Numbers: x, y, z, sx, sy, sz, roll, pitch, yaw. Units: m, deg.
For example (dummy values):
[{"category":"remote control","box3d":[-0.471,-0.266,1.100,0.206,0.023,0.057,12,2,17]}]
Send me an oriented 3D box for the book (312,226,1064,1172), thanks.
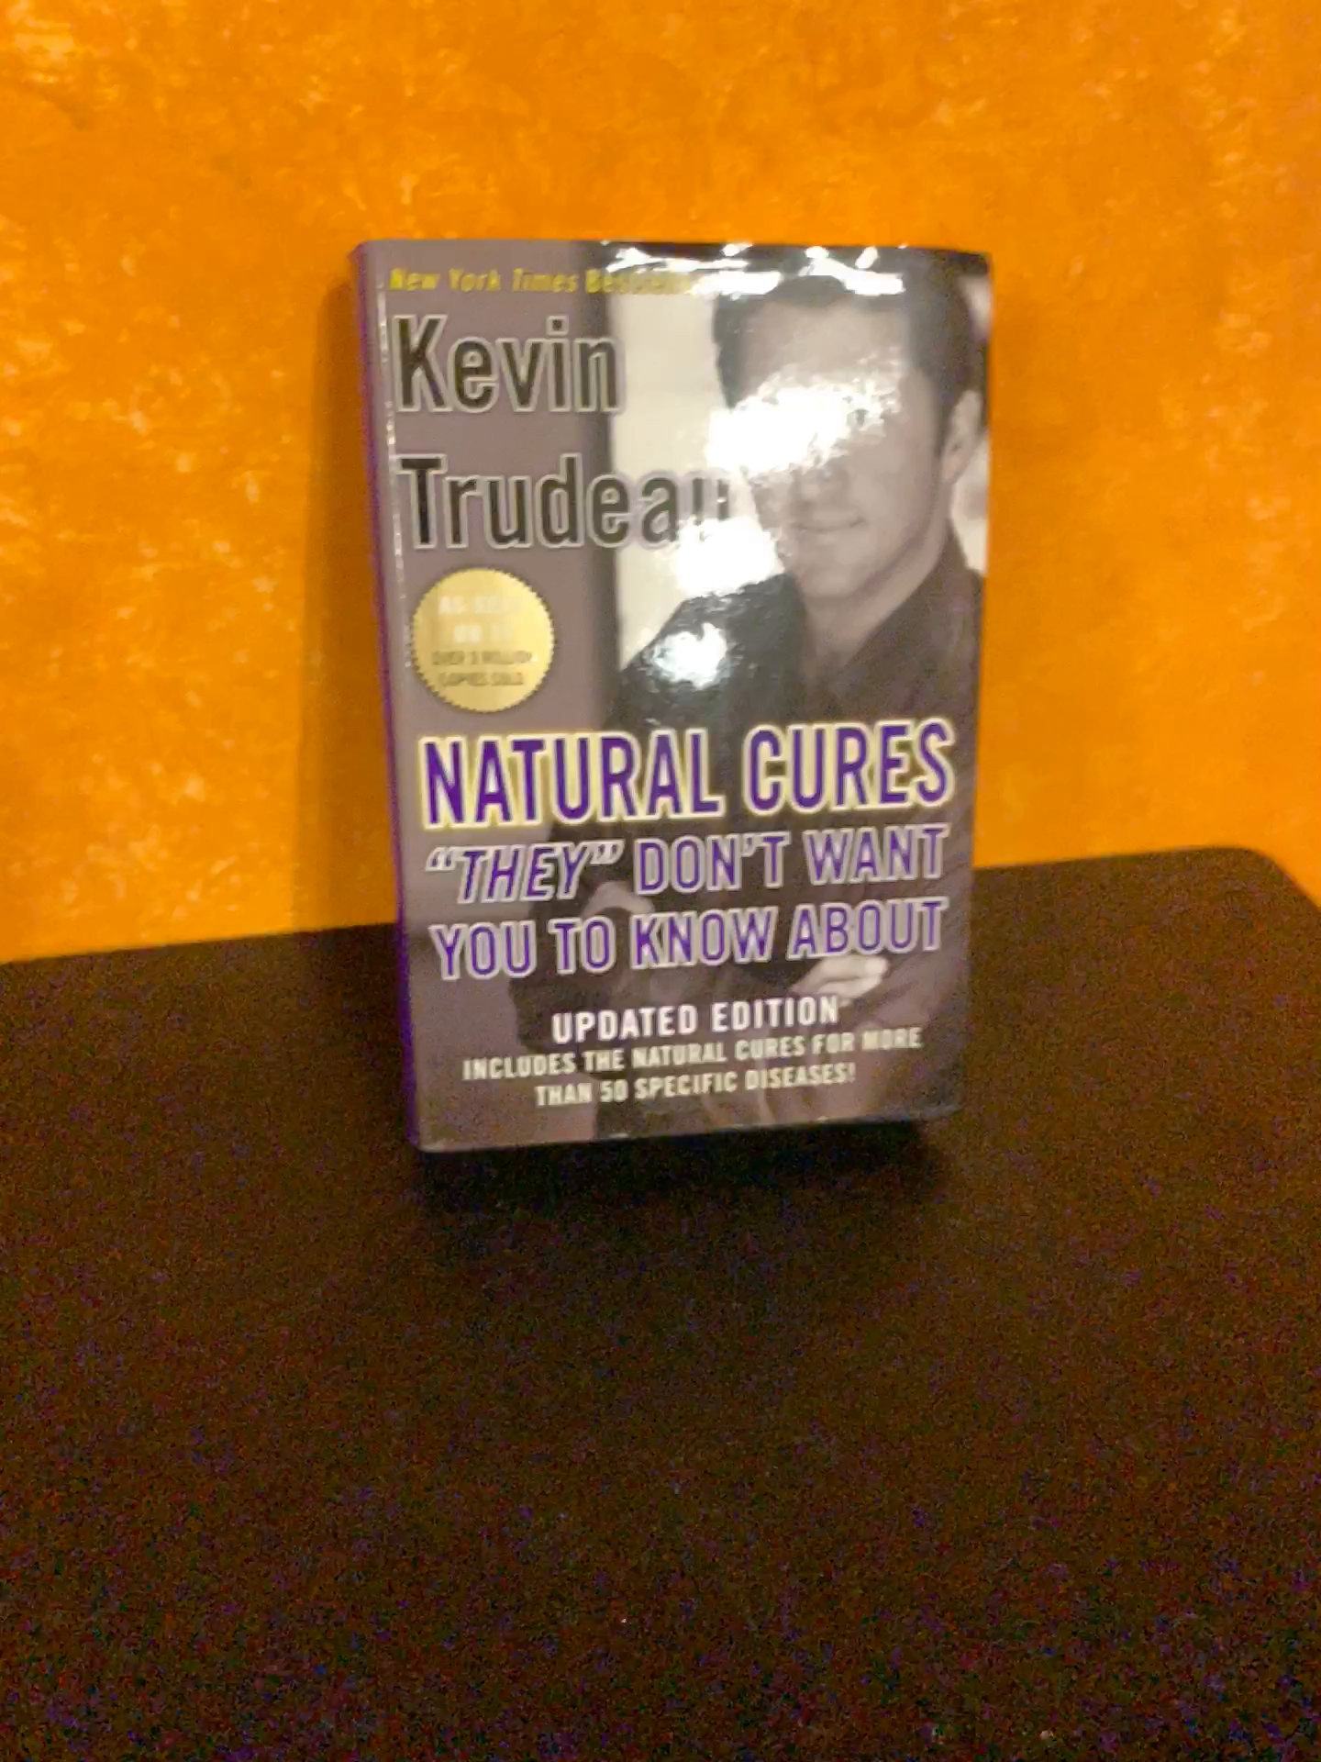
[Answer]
[{"category":"book","box3d":[0.009,-0.047,0.371,0.180,0.229,0.050,-3,12,-8]}]
